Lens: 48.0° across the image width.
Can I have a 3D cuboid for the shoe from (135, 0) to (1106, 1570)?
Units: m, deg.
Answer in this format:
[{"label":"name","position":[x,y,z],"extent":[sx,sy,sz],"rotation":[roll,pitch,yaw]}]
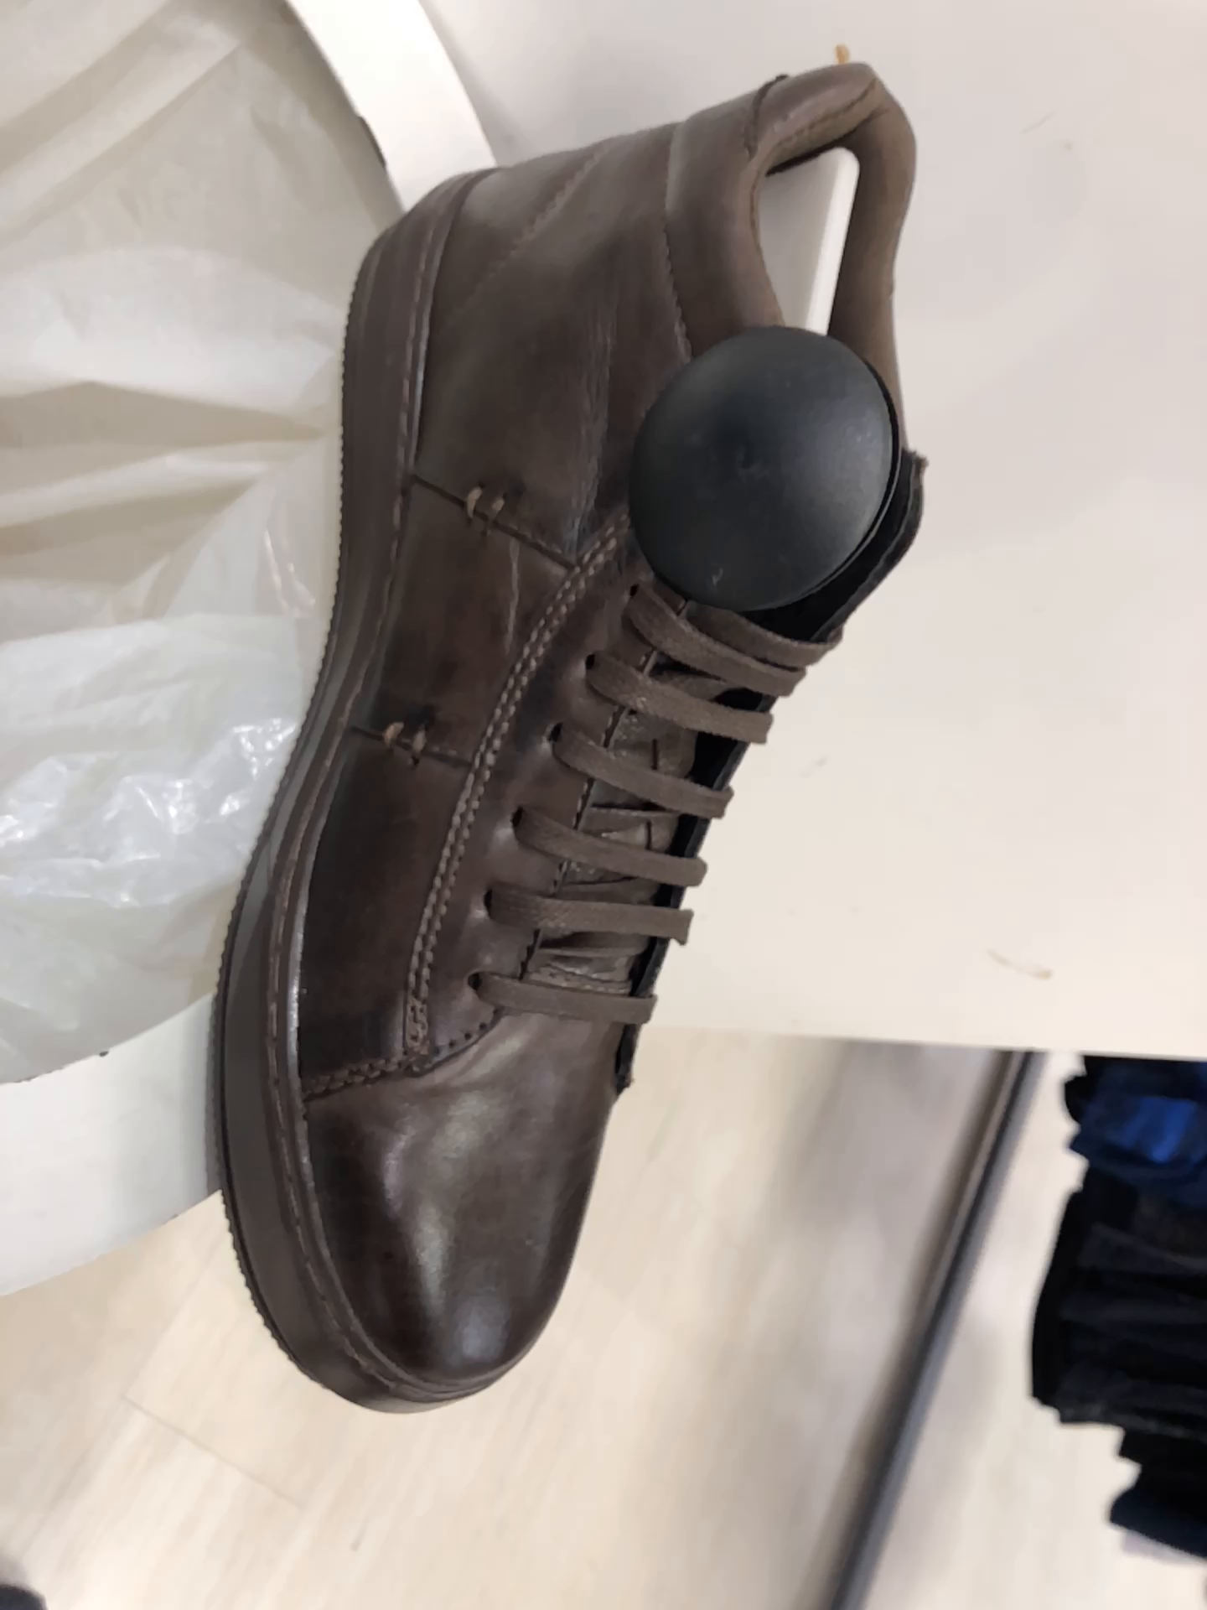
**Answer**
[{"label":"shoe","position":[0.012,-0.017,0.290],"extent":[0.121,0.139,0.270],"rotation":[17,74,-47]}]
